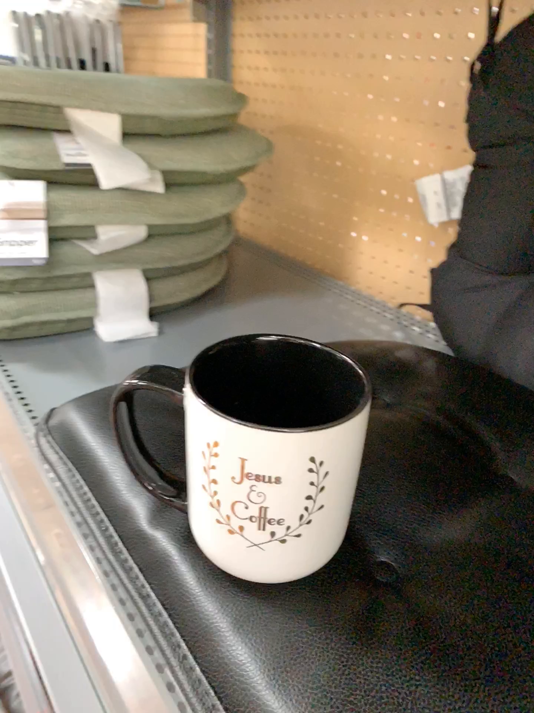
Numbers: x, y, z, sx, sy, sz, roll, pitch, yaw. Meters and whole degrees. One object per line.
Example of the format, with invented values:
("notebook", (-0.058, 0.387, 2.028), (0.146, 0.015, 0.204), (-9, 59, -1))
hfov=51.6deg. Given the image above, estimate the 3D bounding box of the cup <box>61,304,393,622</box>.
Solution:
("cup", (-0.015, 0.047, 0.302), (0.142, 0.104, 0.102), (10, 27, 13))
